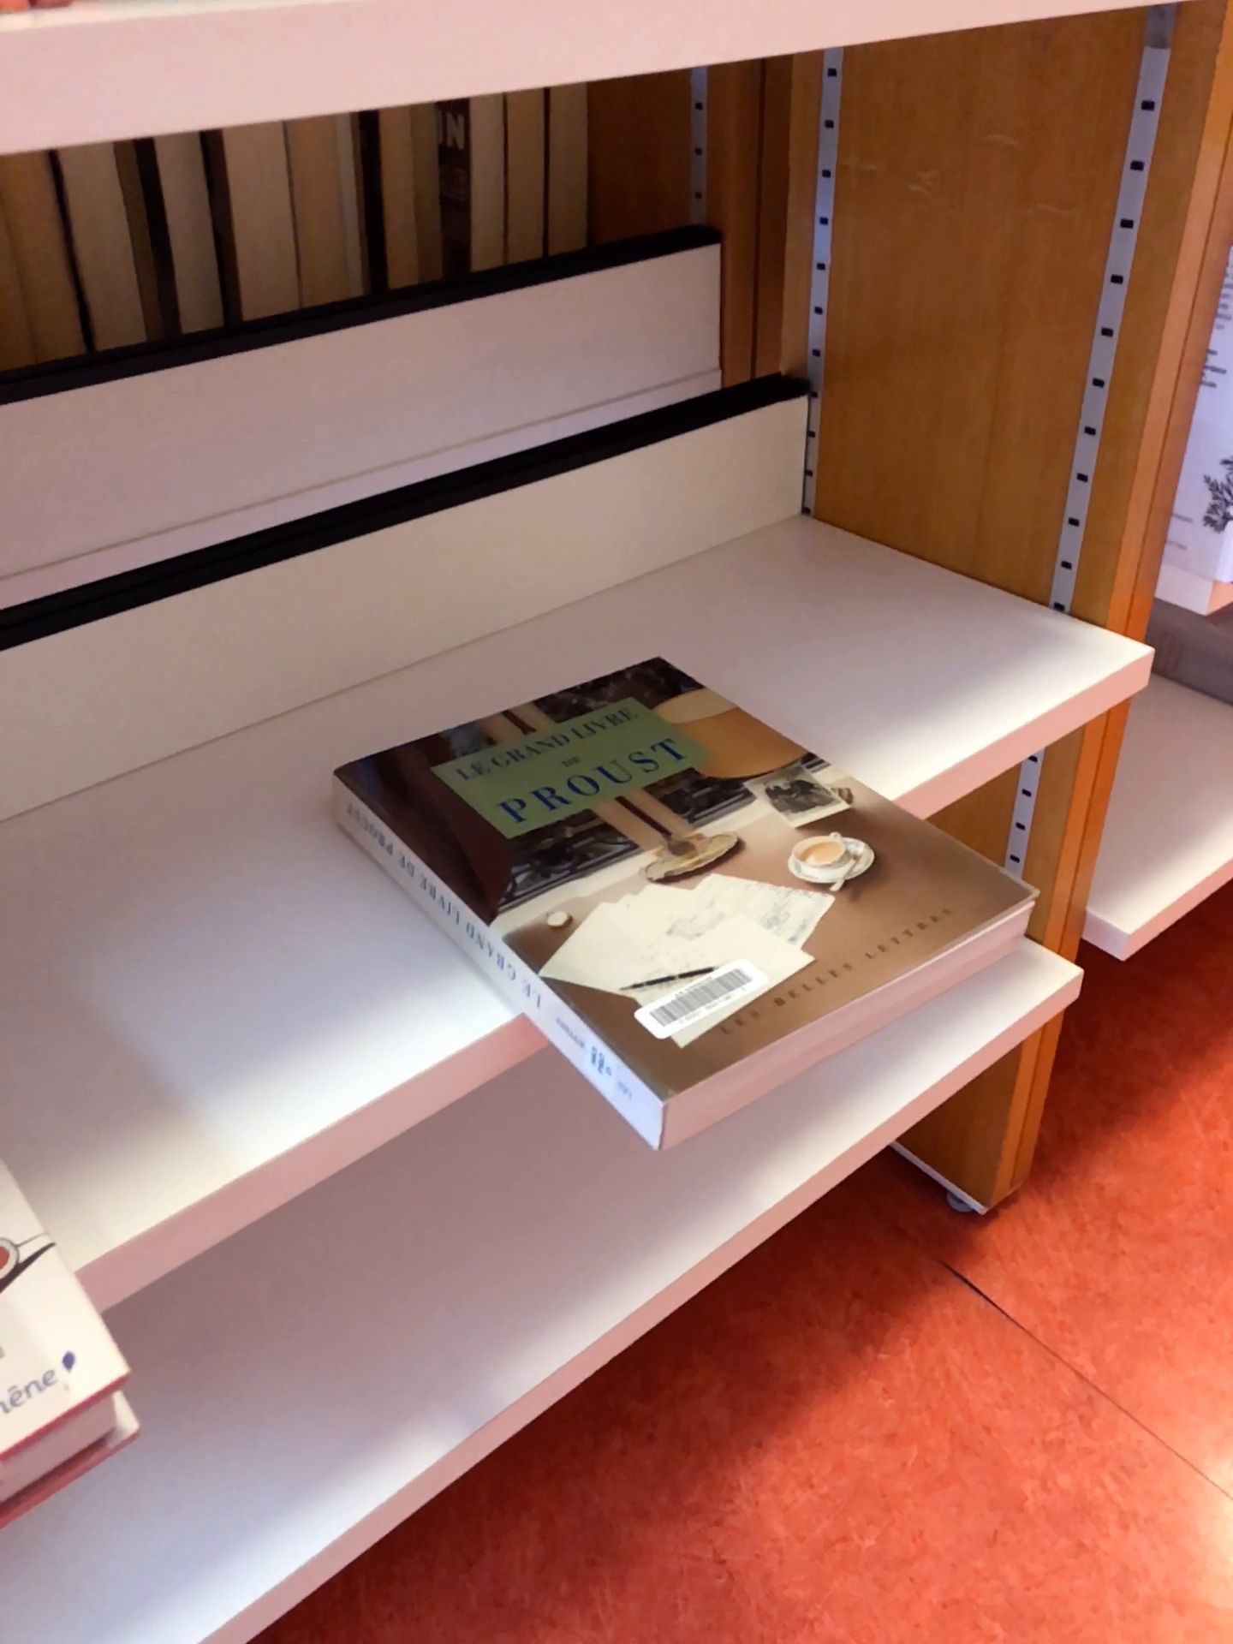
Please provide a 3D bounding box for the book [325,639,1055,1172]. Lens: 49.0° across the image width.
[{"bbox_3d":[0.019,0.011,0.552,0.181,0.030,0.245,-23,41,-28],"label":"book"}]
